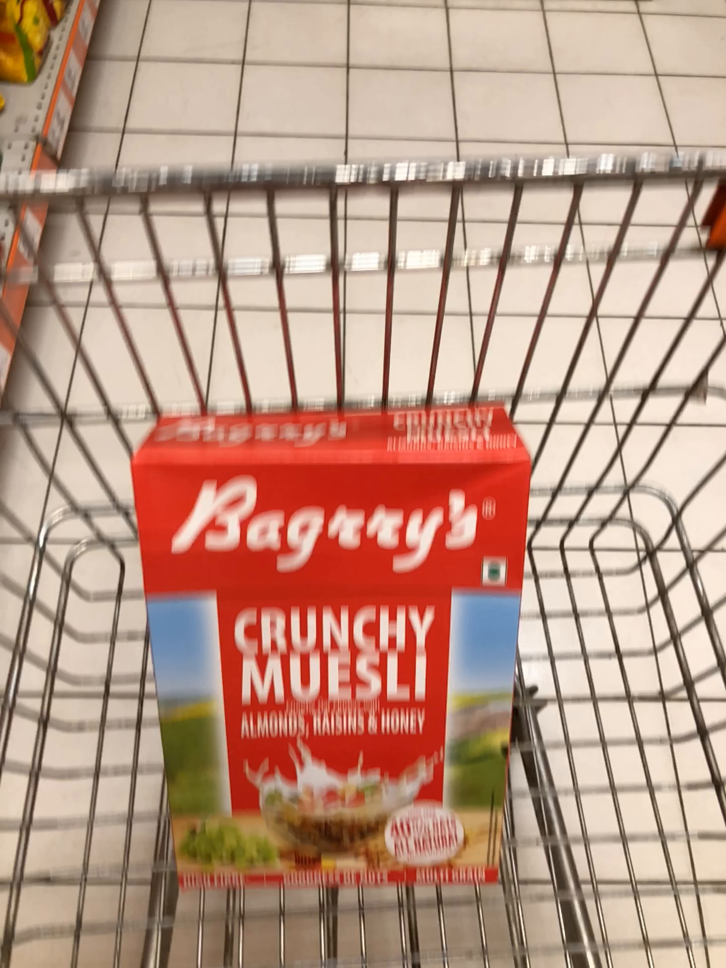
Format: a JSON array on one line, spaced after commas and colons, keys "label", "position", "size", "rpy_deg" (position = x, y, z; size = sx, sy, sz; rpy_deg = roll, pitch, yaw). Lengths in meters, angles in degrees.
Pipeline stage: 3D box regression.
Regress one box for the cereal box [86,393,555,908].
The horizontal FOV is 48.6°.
[{"label": "cereal box", "position": [-0.018, 0.096, 0.415], "size": [0.190, 0.279, 0.060], "rpy_deg": [-1, 27, -2]}]
